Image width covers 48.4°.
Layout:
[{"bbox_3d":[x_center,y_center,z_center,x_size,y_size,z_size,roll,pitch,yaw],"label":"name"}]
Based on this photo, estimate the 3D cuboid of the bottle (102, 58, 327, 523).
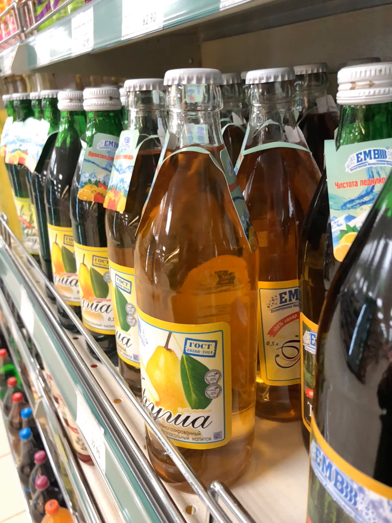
[{"bbox_3d":[0.011,0.020,0.242,0.070,0.234,0.080,-16,24,-30],"label":"bottle"}]
